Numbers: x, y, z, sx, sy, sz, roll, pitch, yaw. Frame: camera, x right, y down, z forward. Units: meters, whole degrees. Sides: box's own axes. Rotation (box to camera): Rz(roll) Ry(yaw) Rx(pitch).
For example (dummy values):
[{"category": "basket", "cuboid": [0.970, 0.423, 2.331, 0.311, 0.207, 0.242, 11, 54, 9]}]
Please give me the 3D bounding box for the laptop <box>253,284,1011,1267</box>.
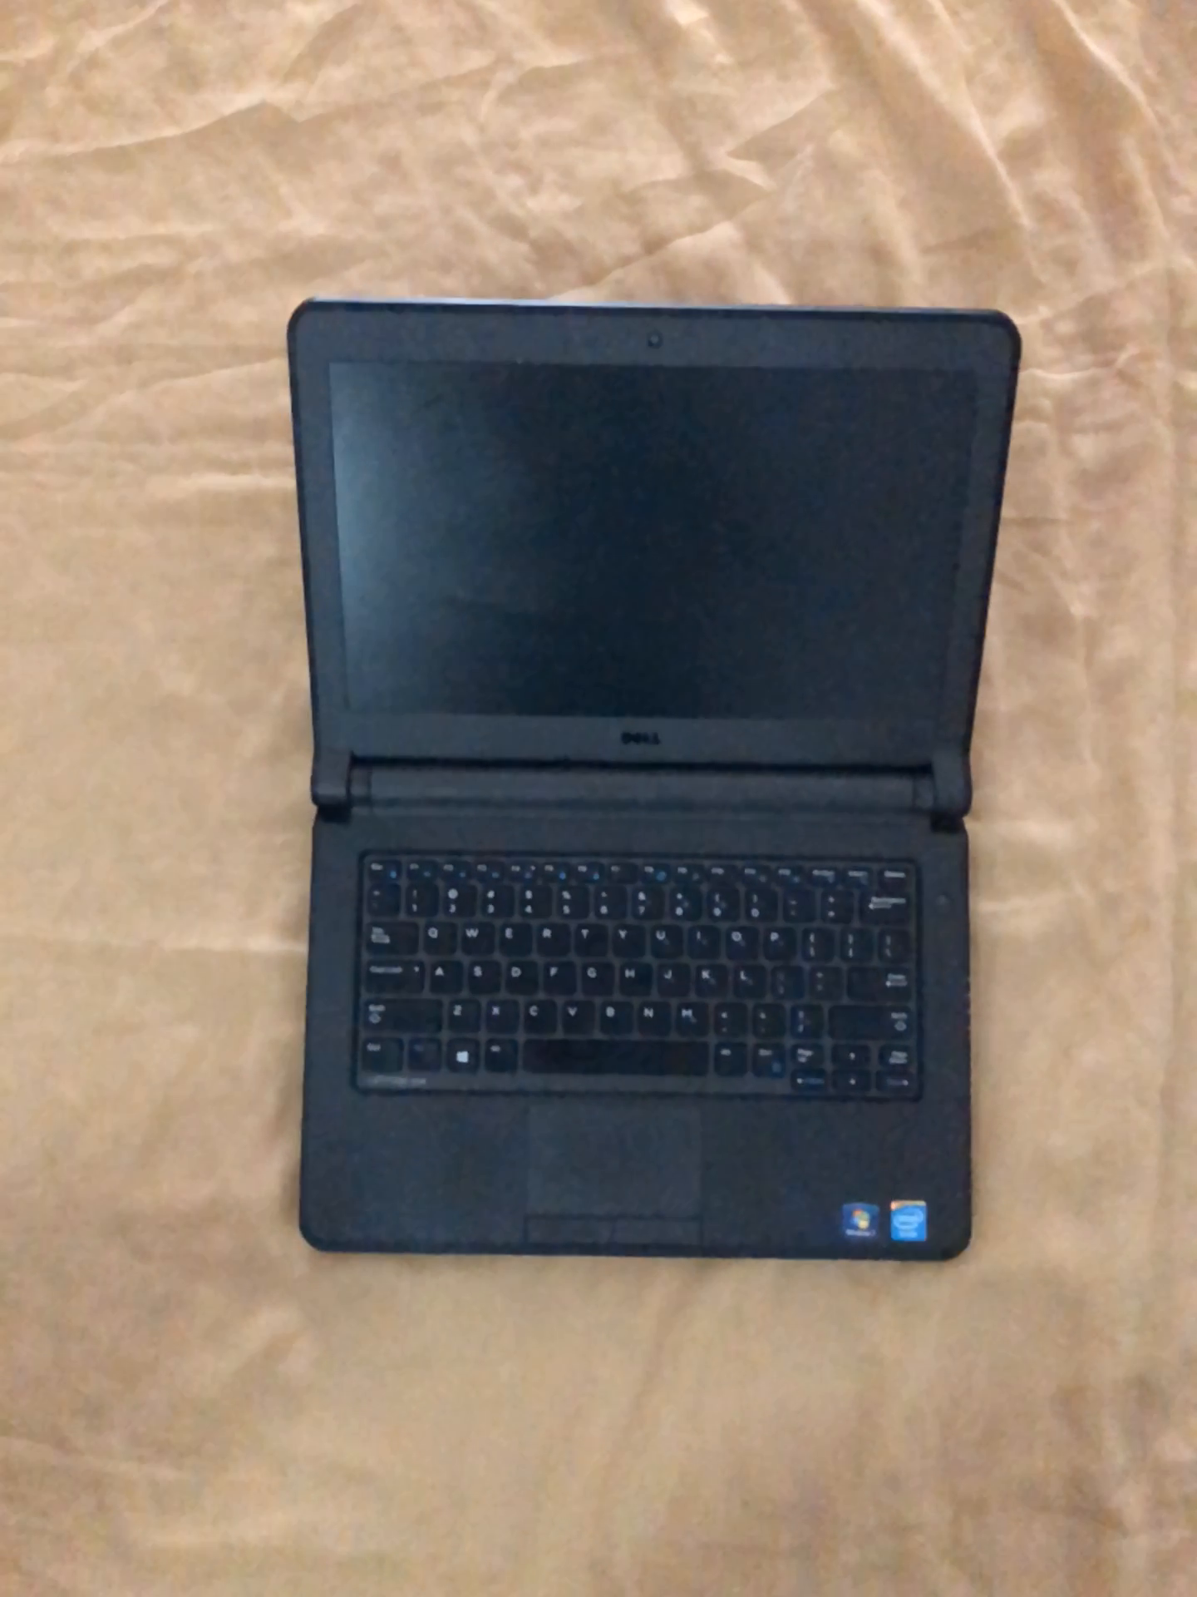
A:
[{"category": "laptop", "cuboid": [0.016, -0.009, 0.596, 0.308, 0.092, 0.409, 1, 86, -1]}]
